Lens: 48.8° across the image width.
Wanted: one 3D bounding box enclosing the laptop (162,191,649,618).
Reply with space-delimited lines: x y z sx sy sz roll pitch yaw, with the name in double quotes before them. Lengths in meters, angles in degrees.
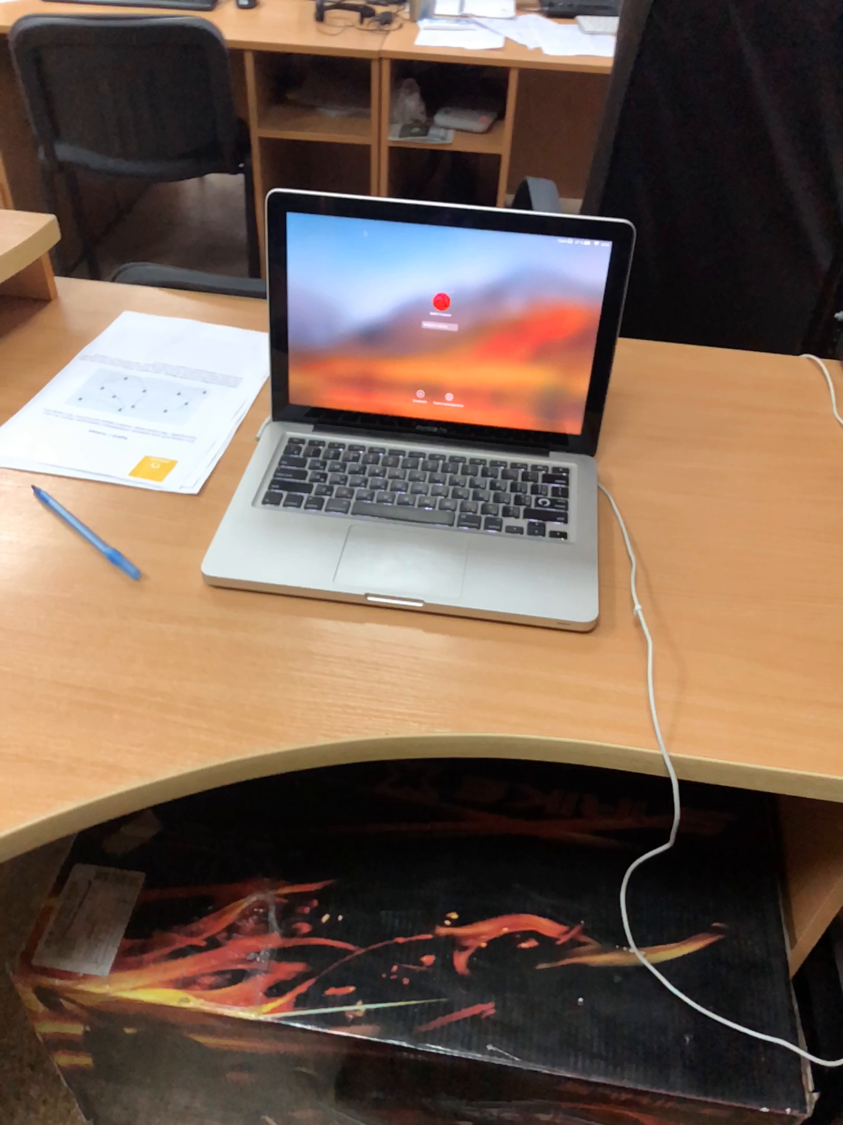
"laptop" 0.000 -0.139 0.764 0.315 0.207 0.267 6 41 3
